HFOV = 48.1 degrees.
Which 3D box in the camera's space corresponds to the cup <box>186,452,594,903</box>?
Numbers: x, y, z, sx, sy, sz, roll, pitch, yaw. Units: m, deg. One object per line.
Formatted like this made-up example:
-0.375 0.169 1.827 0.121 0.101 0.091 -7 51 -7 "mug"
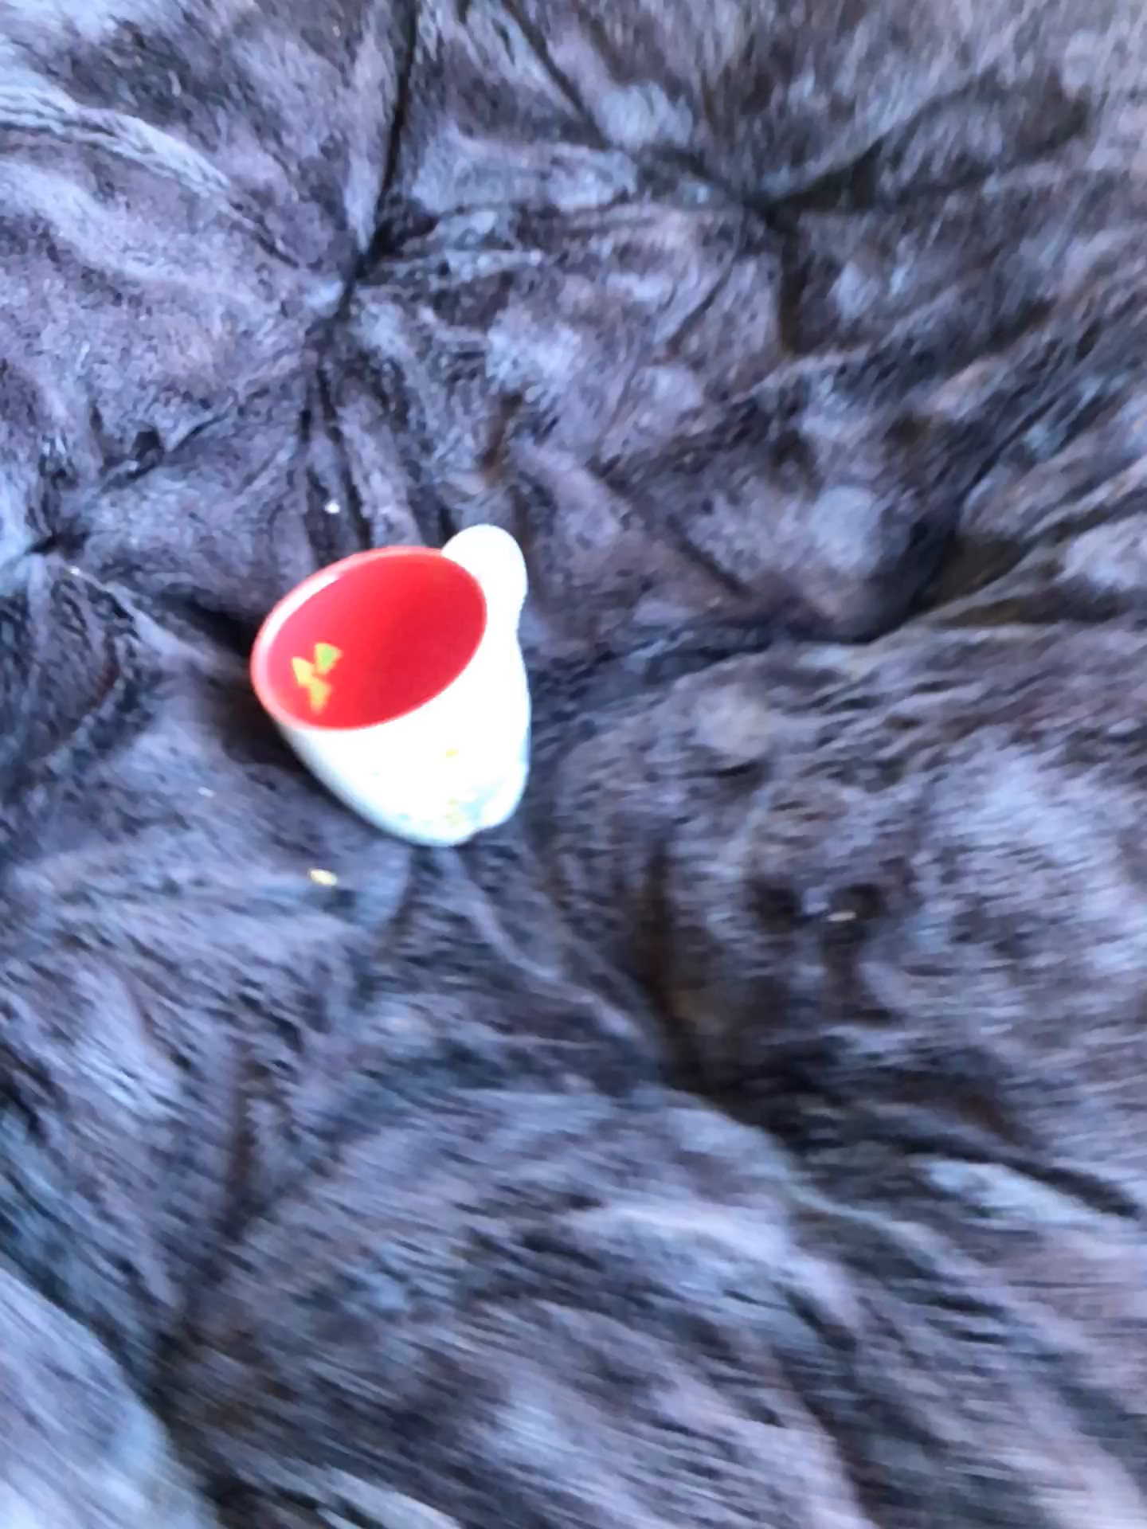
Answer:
-0.067 -0.038 0.544 0.100 0.110 0.140 10 58 17 "cup"
